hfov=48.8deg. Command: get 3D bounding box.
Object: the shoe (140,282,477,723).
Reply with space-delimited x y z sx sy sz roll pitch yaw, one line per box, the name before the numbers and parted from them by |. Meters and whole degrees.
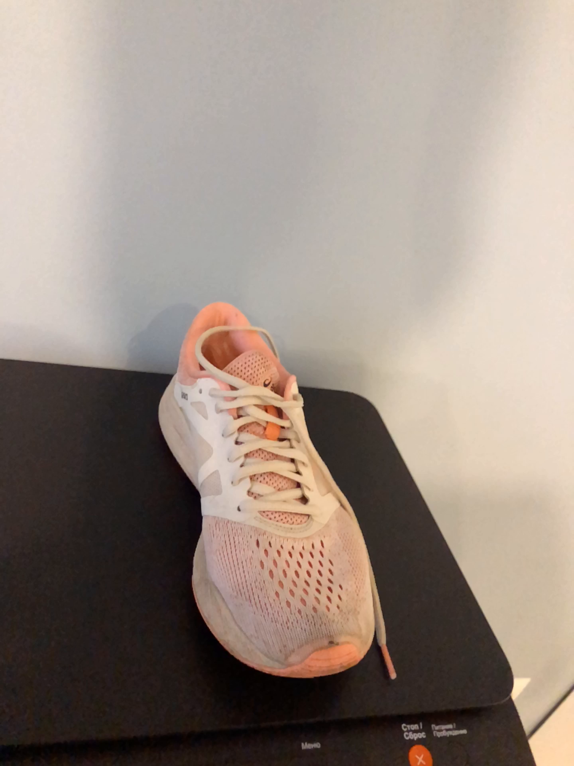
shoe | -0.014 0.046 0.381 0.116 0.089 0.254 4 35 -21
